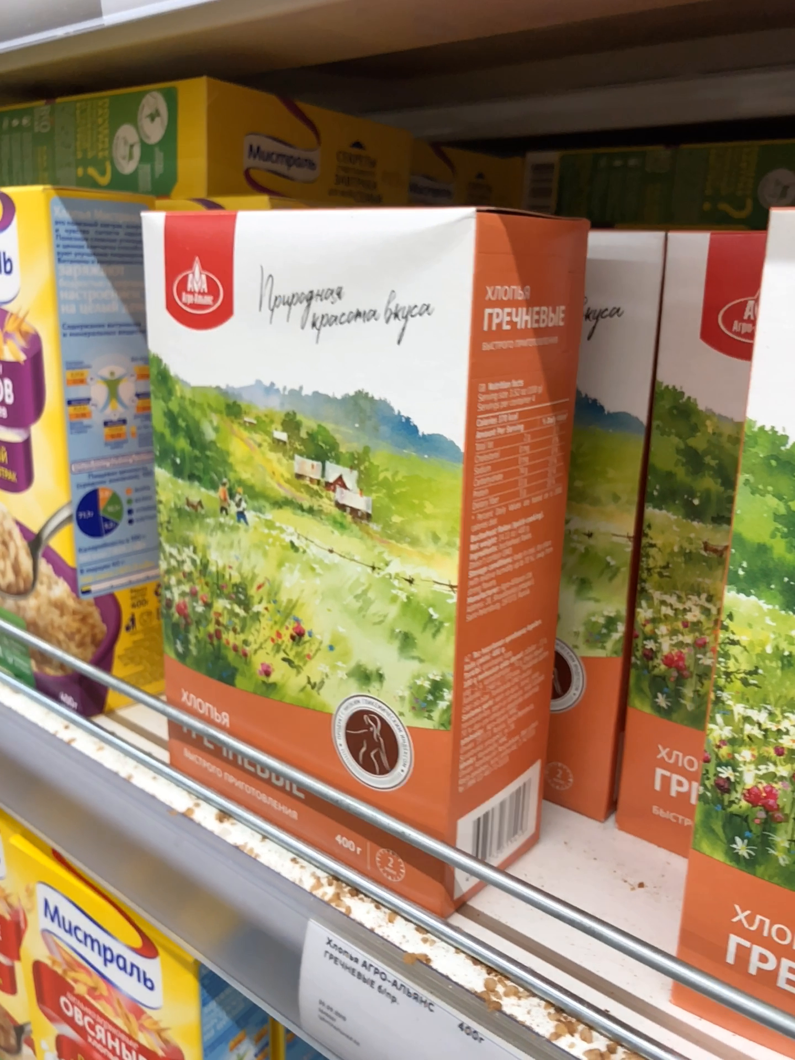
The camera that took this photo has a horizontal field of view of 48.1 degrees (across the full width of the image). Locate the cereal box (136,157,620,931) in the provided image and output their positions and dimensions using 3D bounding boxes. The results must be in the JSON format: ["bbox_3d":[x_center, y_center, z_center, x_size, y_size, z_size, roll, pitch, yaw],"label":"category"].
[{"bbox_3d":[-0.014,-0.004,0.281,0.140,0.199,0.050,14,20,38],"label":"cereal box"}]
